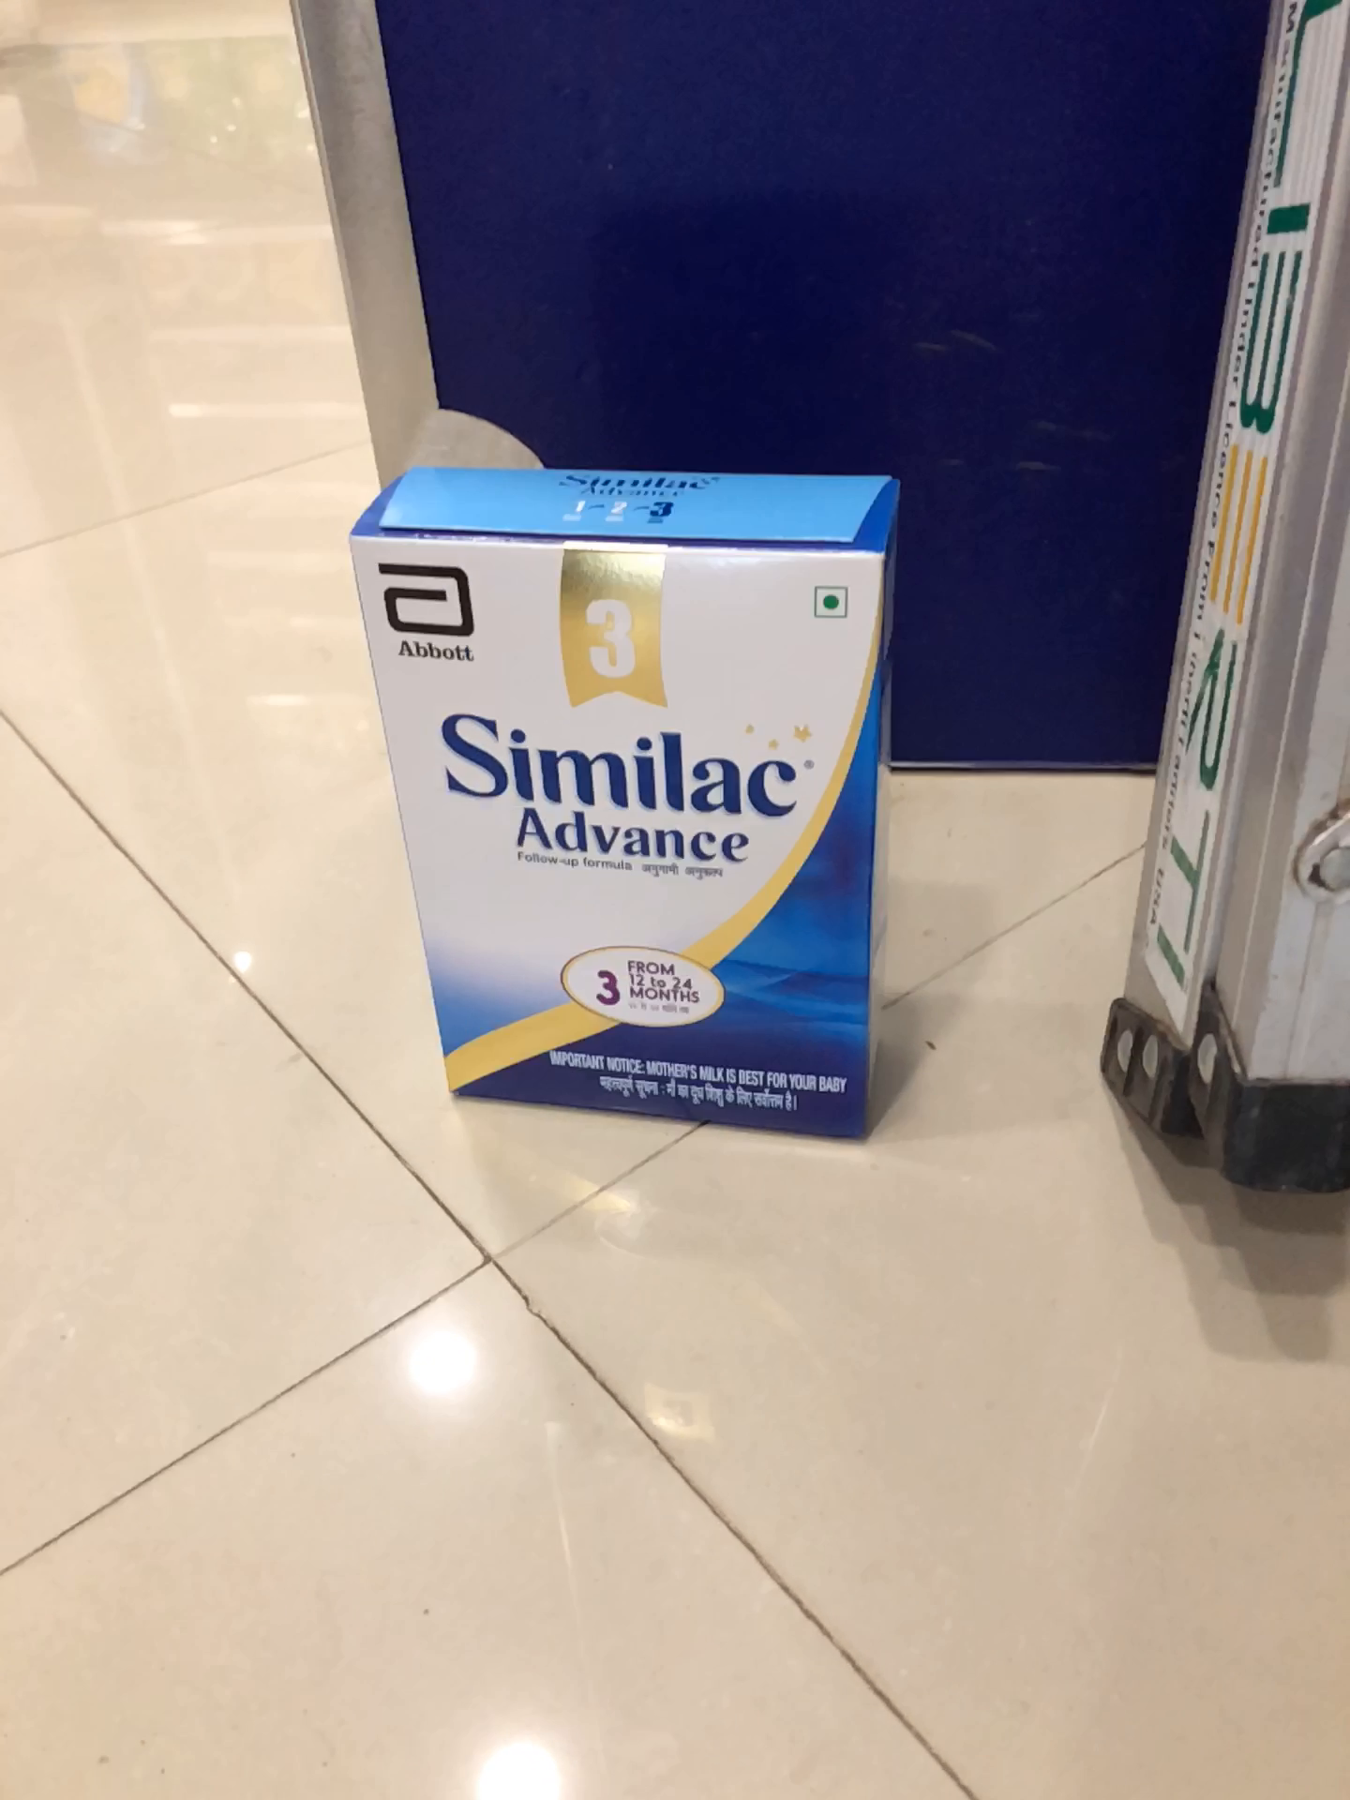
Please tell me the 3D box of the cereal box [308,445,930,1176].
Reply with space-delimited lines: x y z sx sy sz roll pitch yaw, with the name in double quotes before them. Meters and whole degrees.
"cereal box" -0.007 -0.018 0.415 0.140 0.199 0.050 5 39 12
